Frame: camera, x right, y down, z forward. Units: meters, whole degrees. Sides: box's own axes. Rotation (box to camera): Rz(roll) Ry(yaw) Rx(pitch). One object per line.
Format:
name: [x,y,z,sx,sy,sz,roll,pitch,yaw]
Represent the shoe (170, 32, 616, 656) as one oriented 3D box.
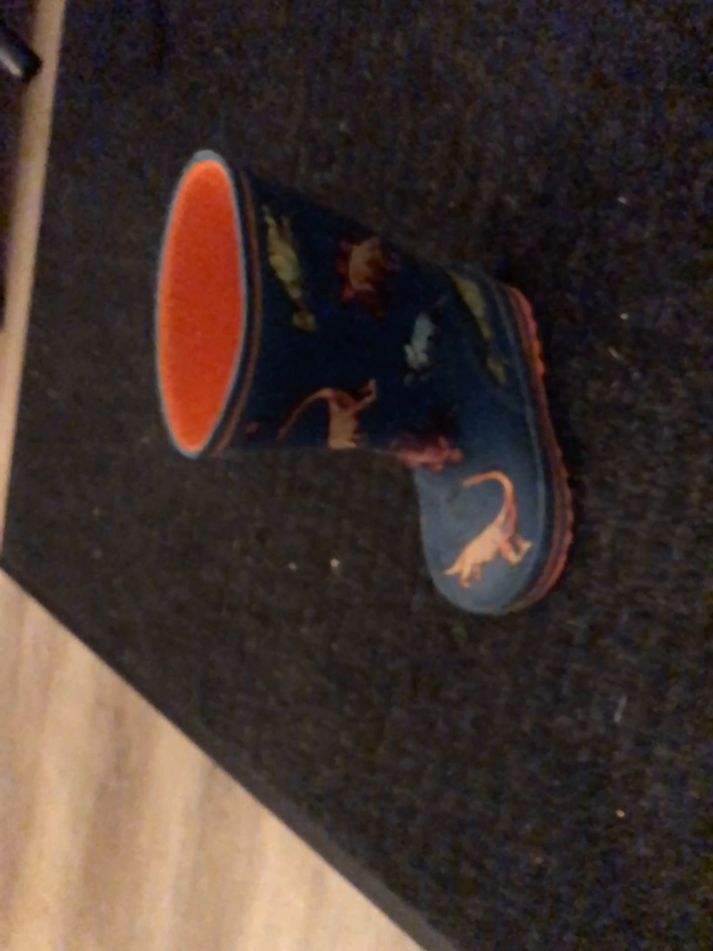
shoe: [0.024,-0.038,0.335,0.080,0.179,0.190,-4,86,45]
